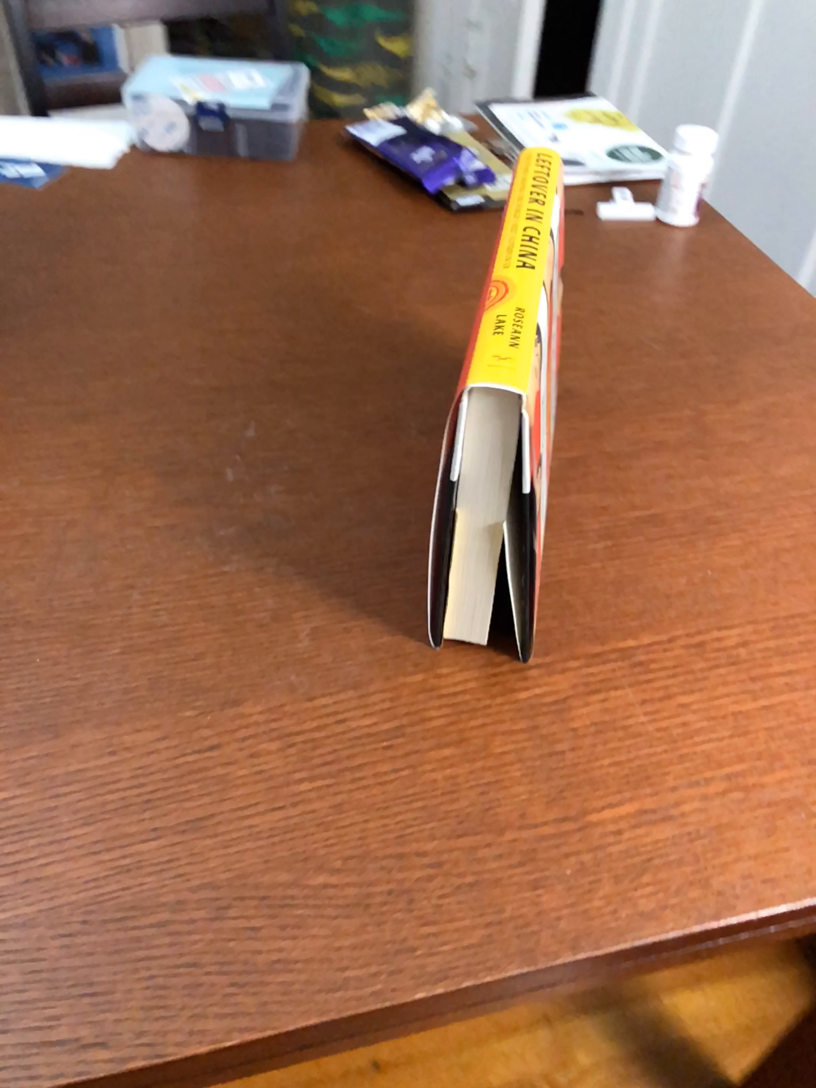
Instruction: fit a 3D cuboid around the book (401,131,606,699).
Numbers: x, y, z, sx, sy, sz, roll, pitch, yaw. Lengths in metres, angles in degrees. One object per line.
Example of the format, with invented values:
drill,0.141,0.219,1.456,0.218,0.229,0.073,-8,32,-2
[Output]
book,0.055,-0.080,0.484,0.060,0.179,0.262,9,44,6
